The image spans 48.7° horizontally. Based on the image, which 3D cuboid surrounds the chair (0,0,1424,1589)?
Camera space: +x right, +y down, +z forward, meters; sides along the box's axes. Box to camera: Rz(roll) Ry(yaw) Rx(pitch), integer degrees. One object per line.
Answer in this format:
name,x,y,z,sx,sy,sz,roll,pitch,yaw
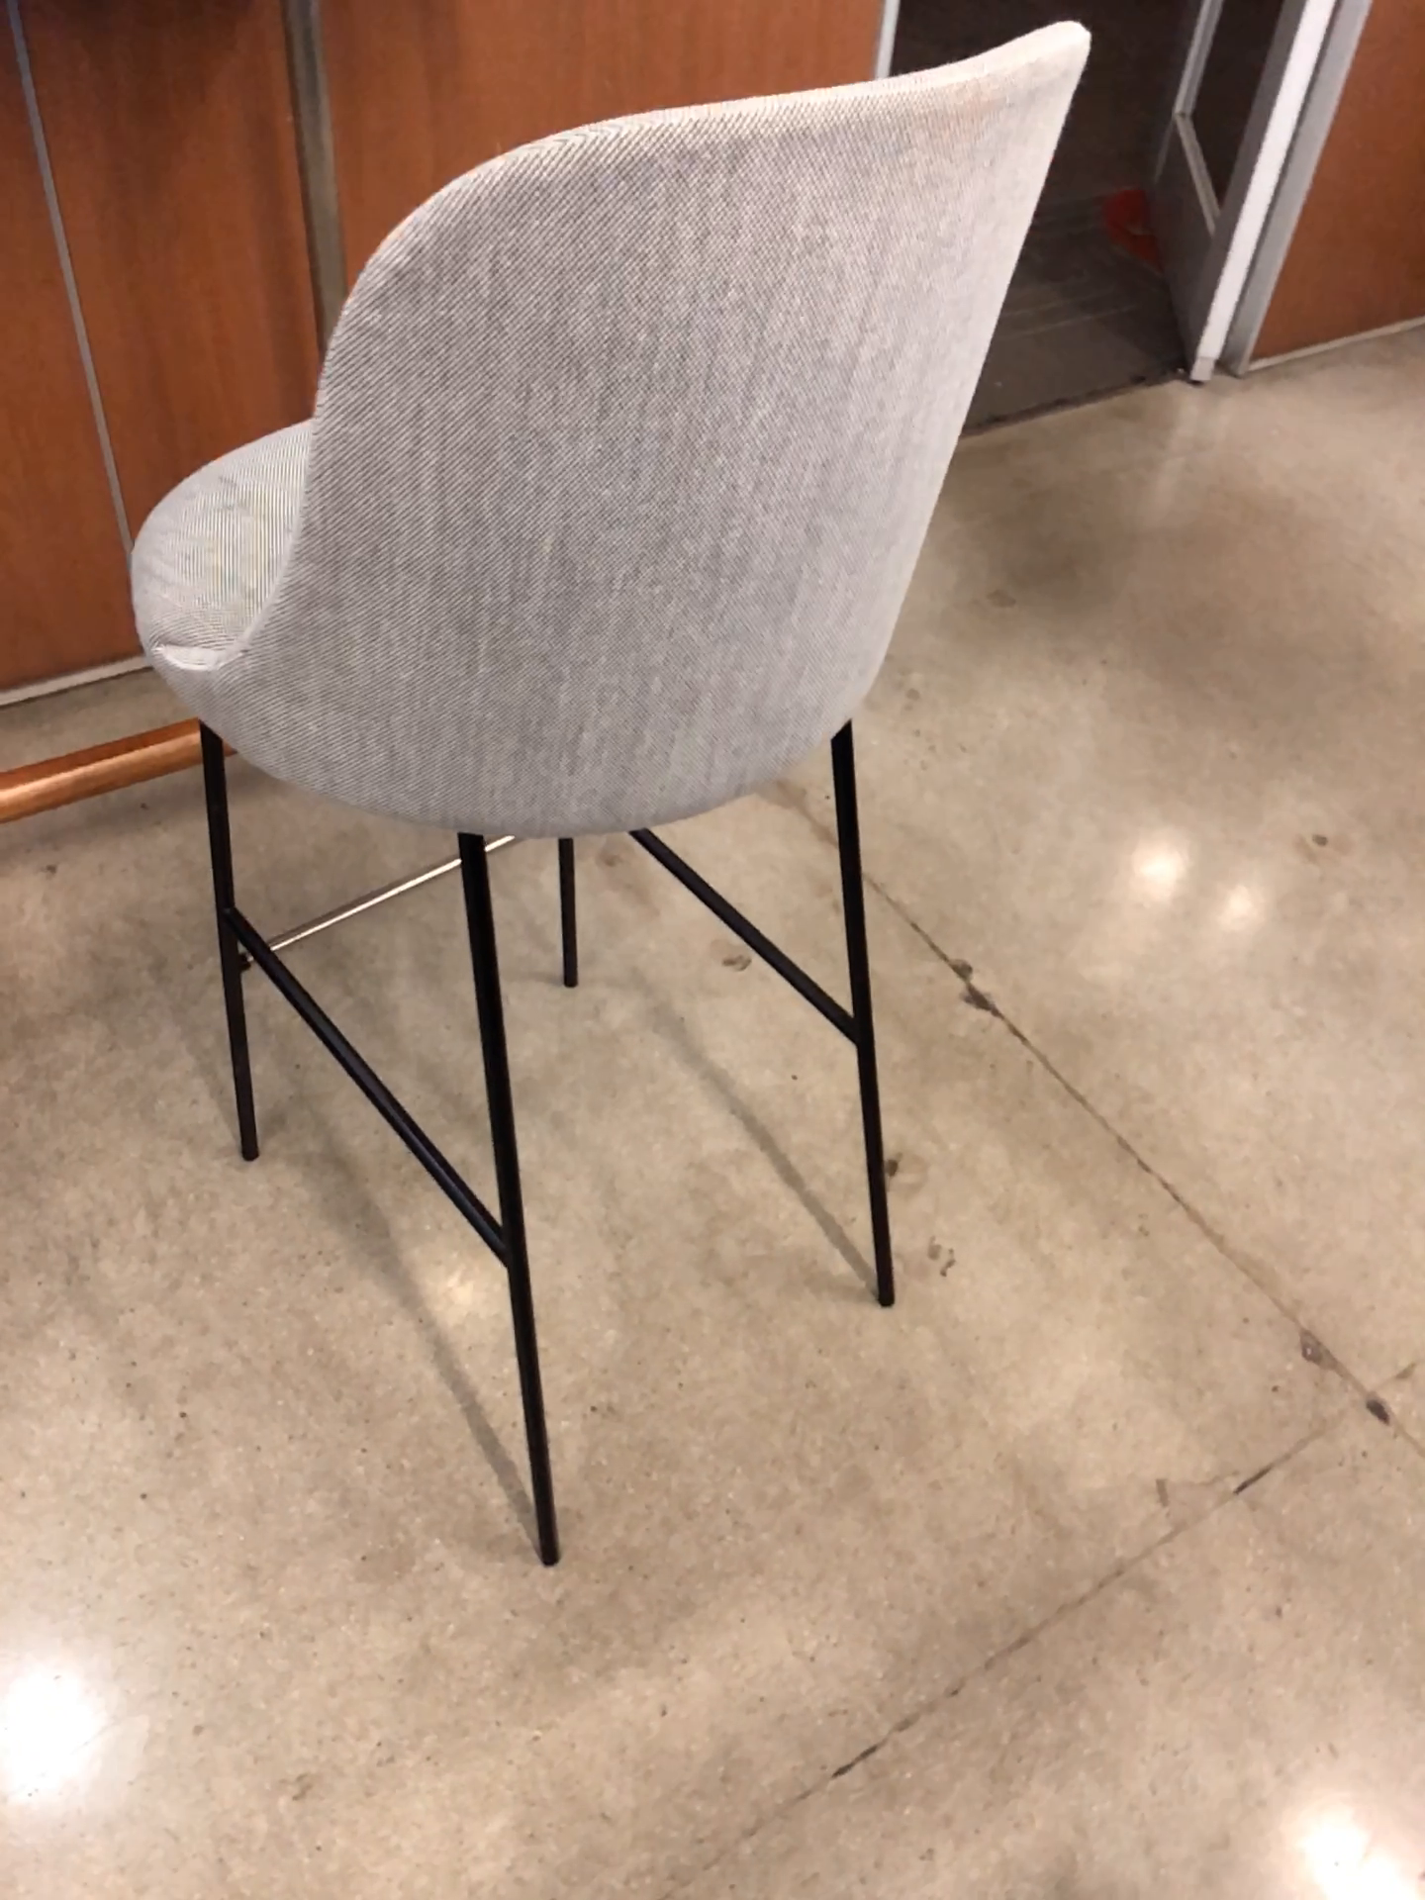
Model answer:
chair,-0.108,-0.153,1.117,0.461,1.095,0.622,-28,55,-29
